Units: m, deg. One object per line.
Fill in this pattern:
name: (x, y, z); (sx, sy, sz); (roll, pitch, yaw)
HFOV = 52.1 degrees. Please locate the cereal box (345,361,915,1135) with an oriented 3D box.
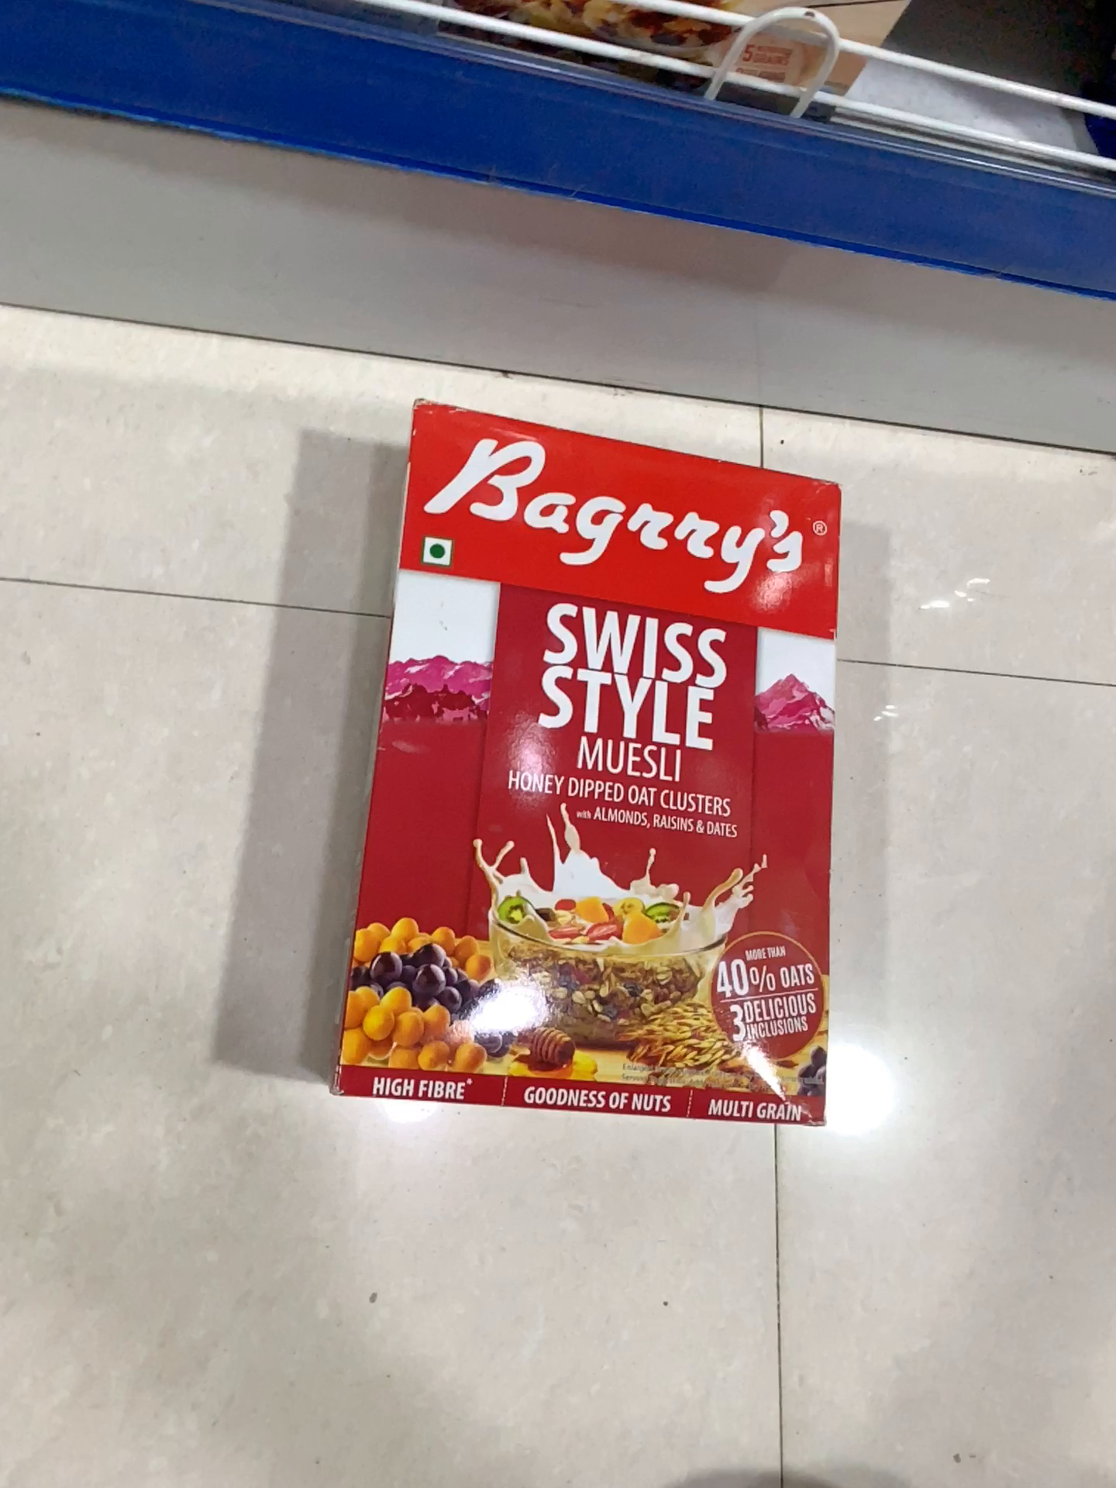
cereal box: (0.031, 0.007, 0.449); (0.190, 0.080, 0.260); (8, 77, -13)
